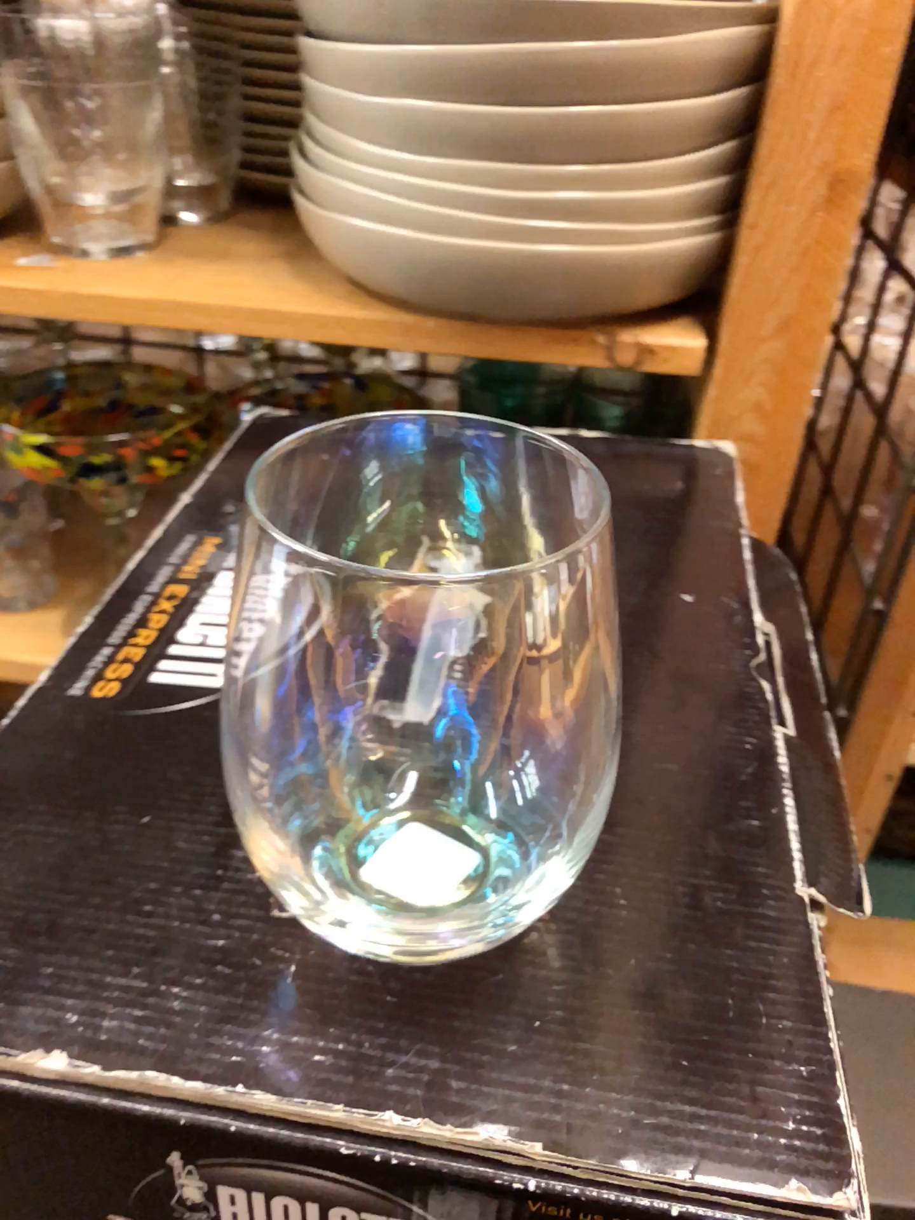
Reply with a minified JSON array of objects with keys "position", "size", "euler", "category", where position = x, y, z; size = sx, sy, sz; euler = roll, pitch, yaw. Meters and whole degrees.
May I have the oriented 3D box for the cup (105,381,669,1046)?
[{"position":[-0.010,0.020,0.233],"size":[0.093,0.107,0.090],"euler":[3,34,-2],"category":"cup"}]
